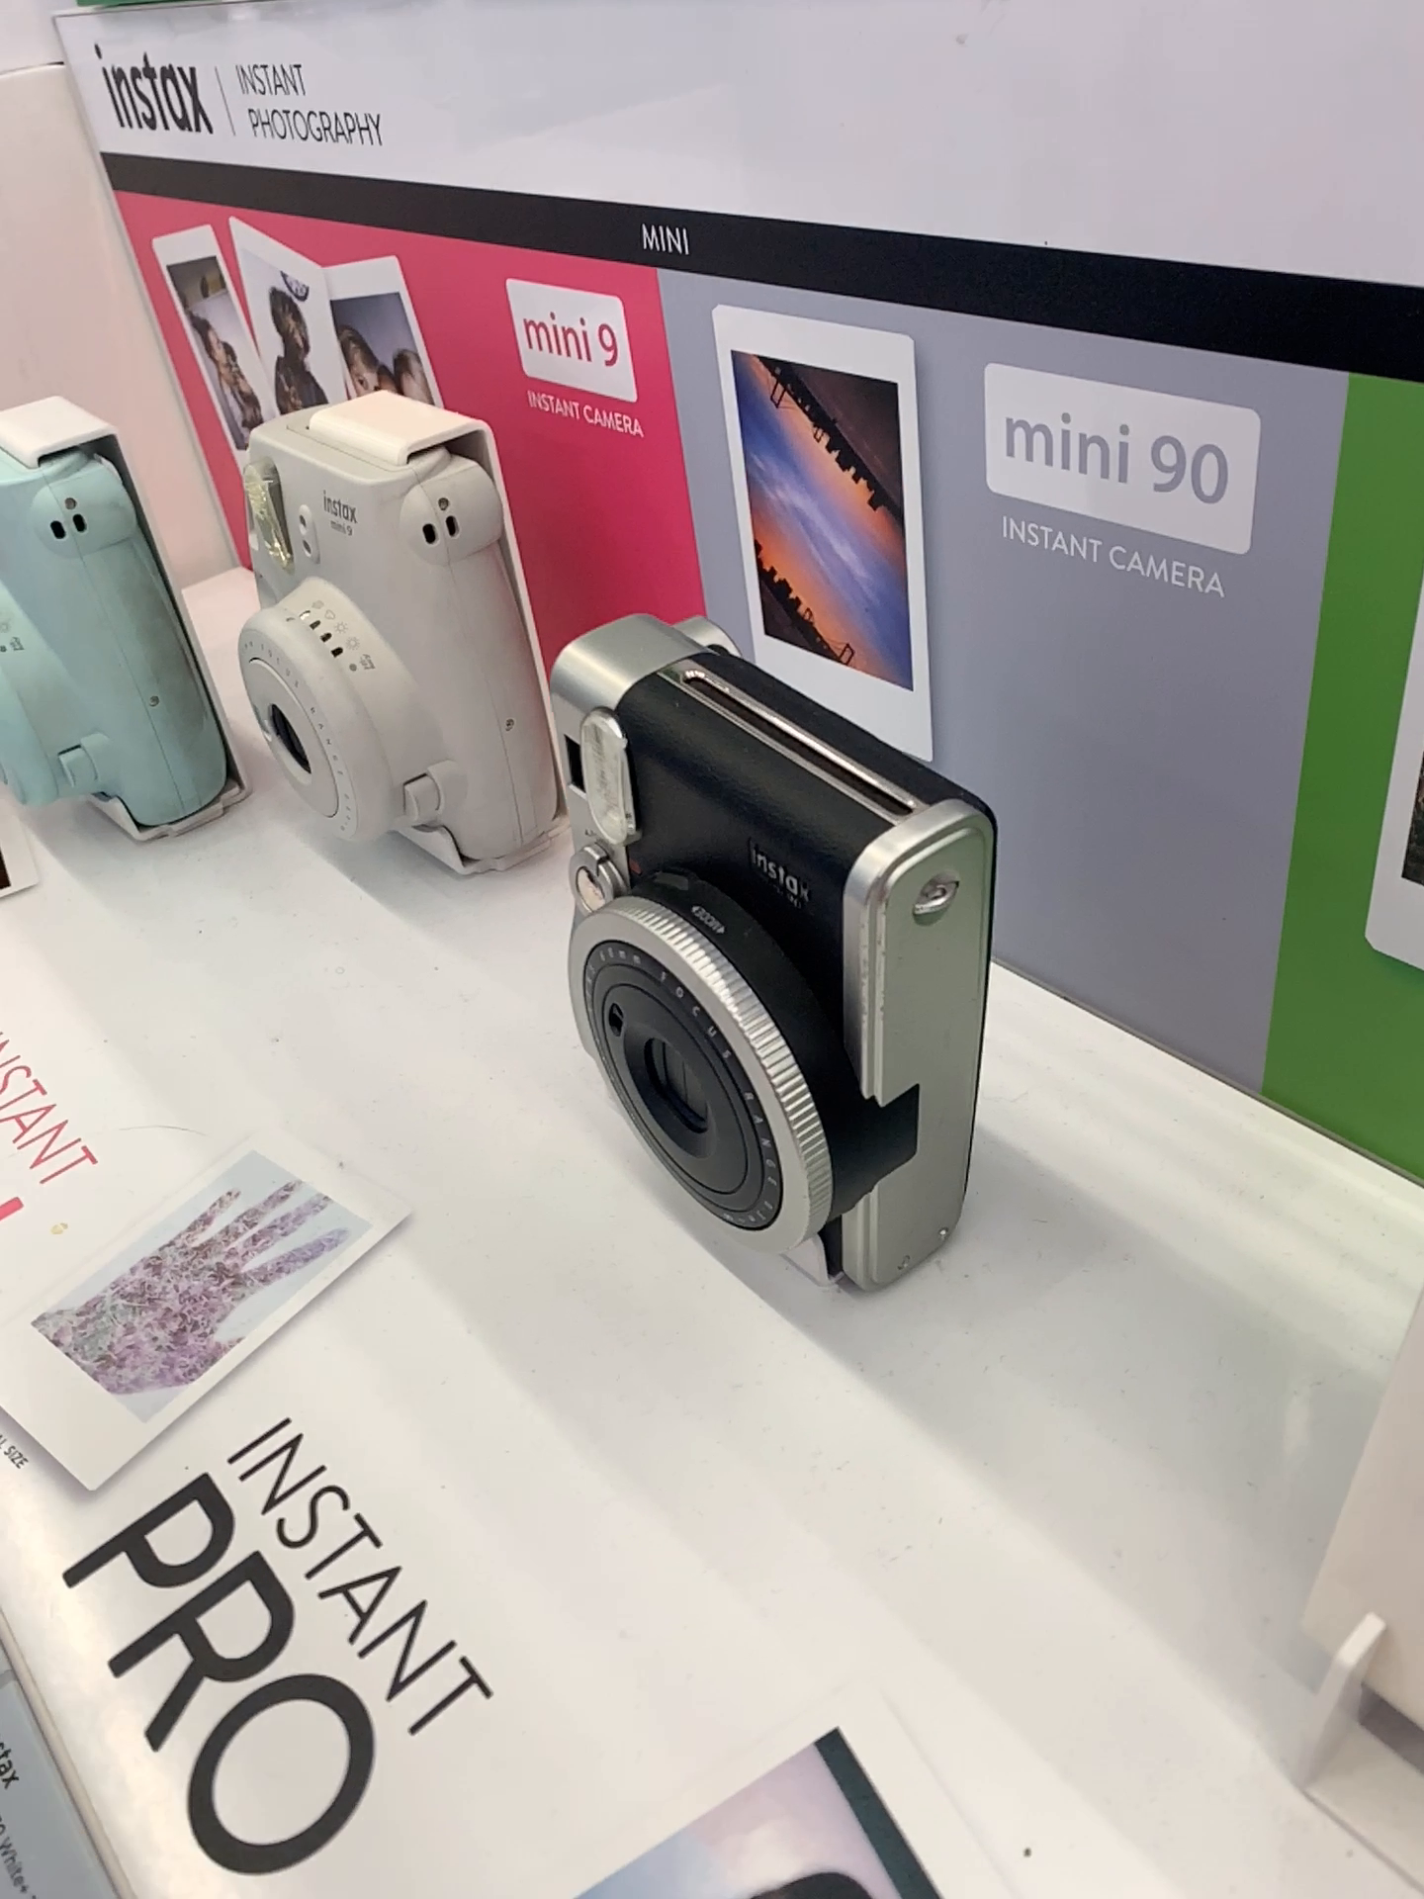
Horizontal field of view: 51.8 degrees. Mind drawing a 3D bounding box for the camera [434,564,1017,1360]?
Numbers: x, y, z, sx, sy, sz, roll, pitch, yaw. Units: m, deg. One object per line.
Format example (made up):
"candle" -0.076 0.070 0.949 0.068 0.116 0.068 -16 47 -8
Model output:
"camera" 0.003 0.000 0.284 0.050 0.109 0.101 -28 44 -23
